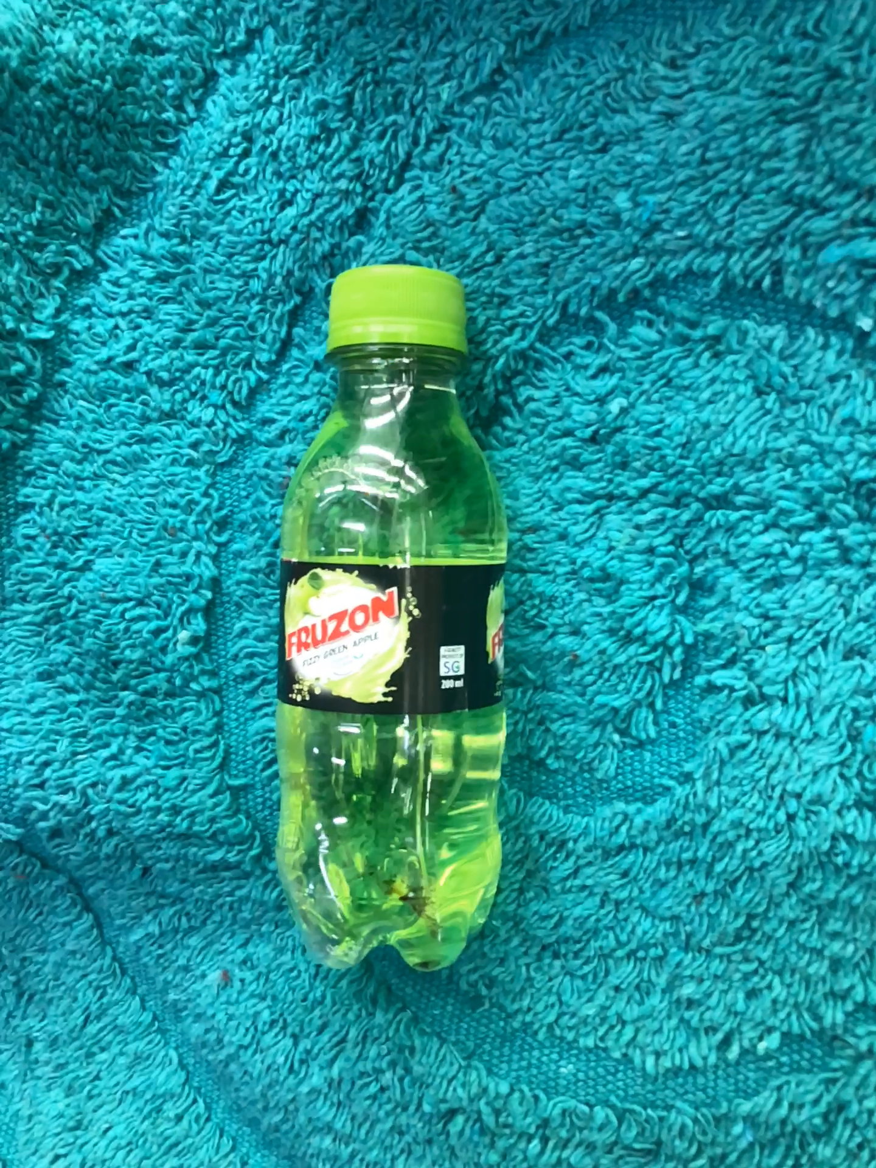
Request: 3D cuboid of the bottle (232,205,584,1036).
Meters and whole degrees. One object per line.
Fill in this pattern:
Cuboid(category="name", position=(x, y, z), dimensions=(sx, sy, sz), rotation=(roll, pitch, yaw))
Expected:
Cuboid(category="bottle", position=(-0.006, 0.006, 0.222), dimensions=(0.060, 0.050, 0.160), rotation=(4, 97, 29))
